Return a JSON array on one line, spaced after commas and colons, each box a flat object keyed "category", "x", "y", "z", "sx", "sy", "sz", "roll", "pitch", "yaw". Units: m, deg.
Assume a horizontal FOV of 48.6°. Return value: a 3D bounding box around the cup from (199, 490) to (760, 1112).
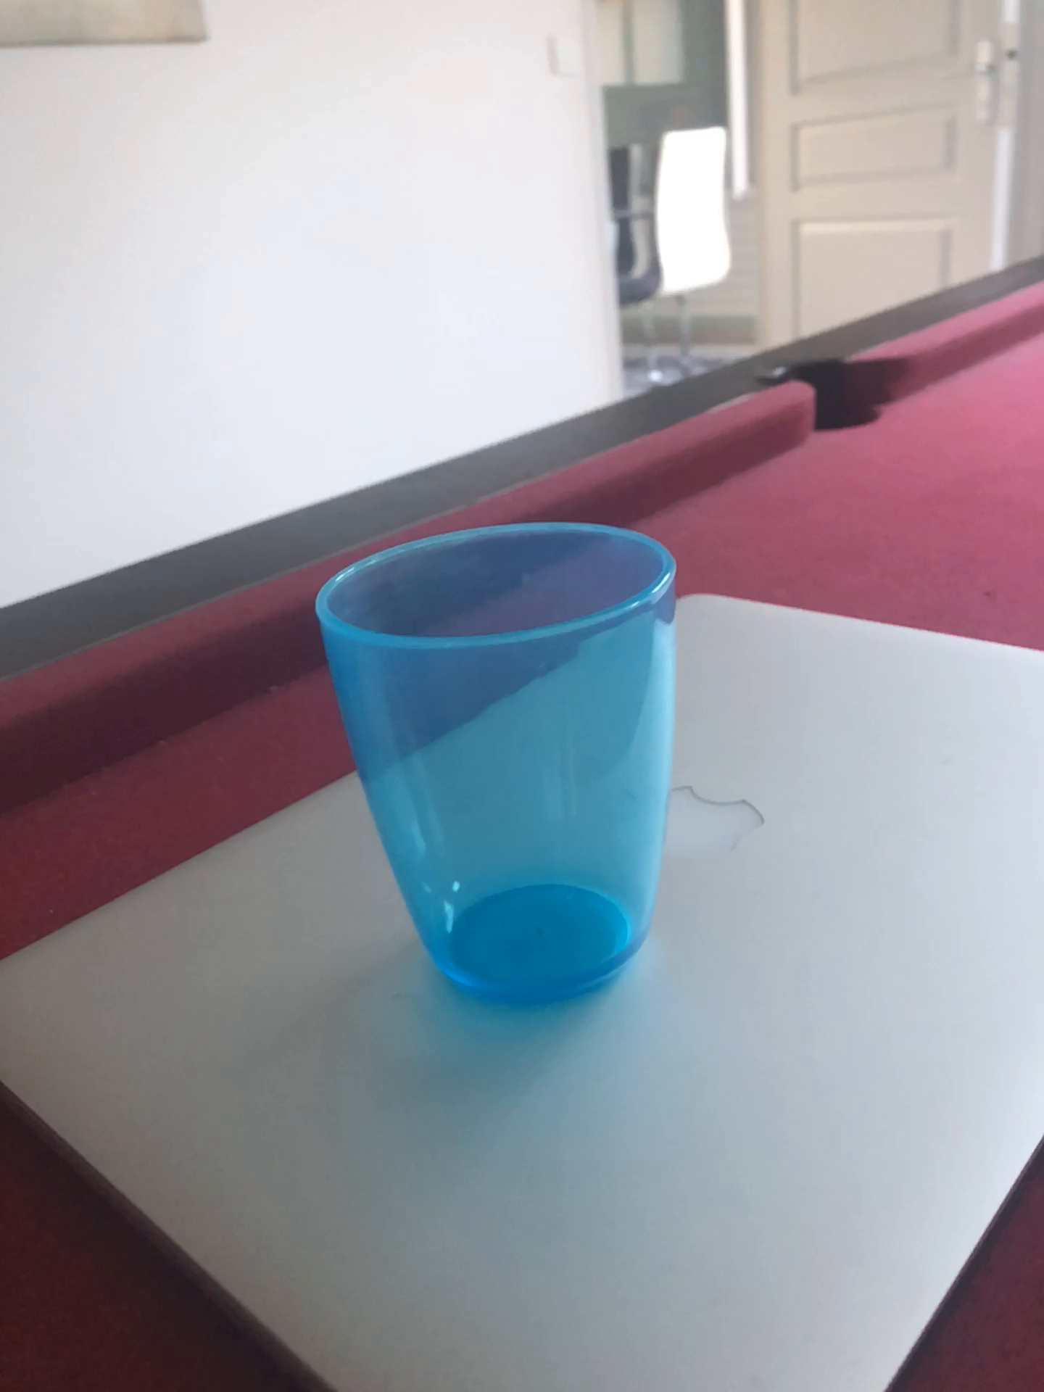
[{"category": "cup", "x": -0.005, "y": 0.015, "z": 0.273, "sx": 0.080, "sy": 0.099, "sz": 0.090, "roll": 15, "pitch": 32, "yaw": 41}]
